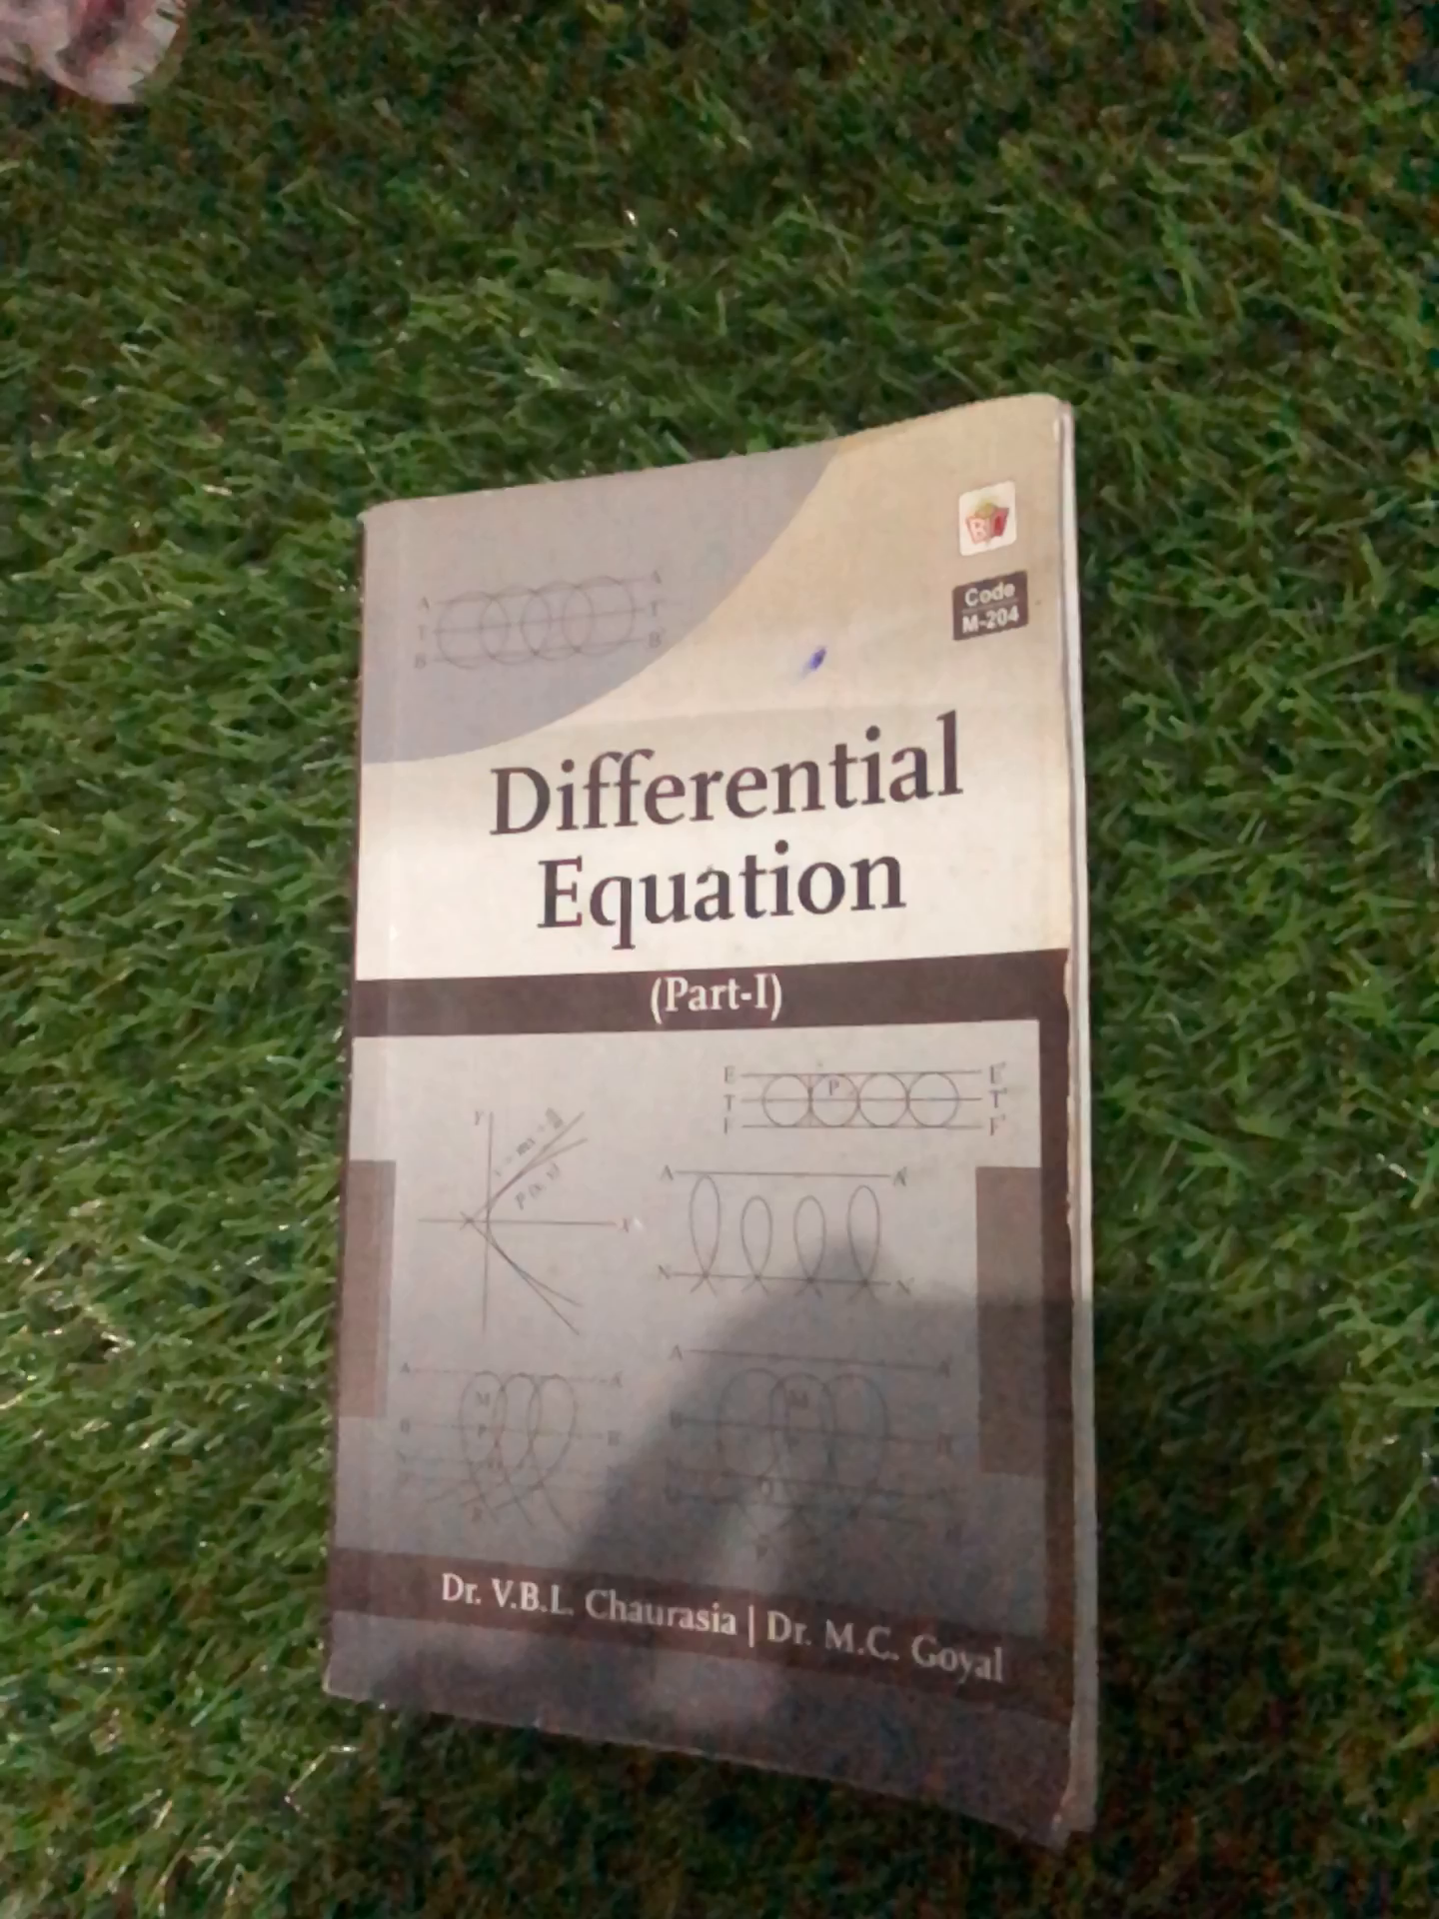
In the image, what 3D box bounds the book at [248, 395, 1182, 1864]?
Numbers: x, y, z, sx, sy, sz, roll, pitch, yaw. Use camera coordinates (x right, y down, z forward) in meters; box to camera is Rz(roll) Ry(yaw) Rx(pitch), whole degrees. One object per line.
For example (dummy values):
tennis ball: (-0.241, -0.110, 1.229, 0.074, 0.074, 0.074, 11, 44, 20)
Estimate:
book: (-0.002, 0.021, 0.258, 0.140, 0.030, 0.200, -2, 82, 19)
